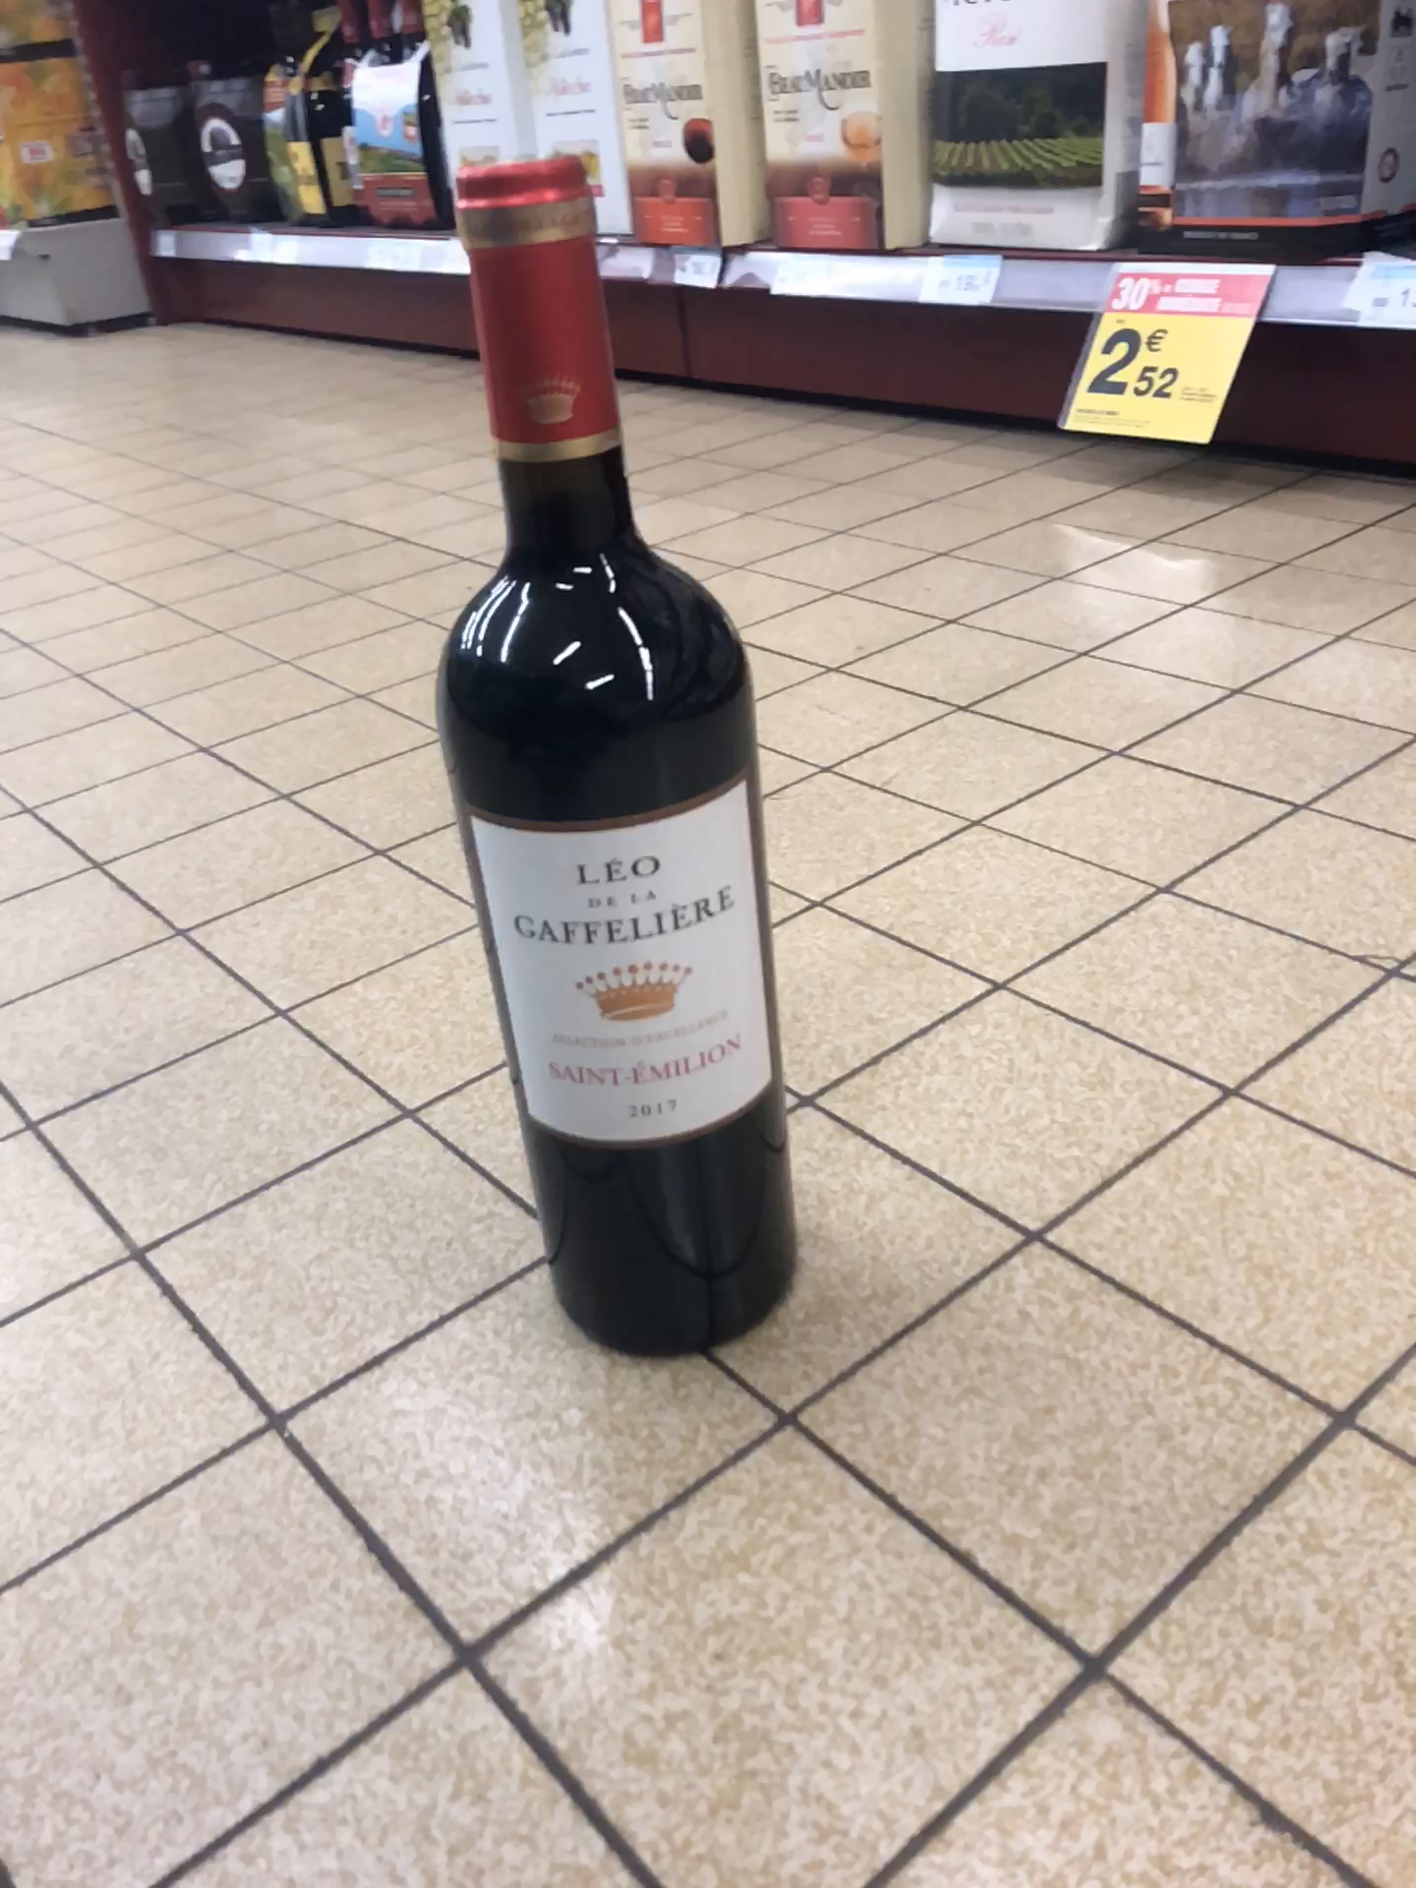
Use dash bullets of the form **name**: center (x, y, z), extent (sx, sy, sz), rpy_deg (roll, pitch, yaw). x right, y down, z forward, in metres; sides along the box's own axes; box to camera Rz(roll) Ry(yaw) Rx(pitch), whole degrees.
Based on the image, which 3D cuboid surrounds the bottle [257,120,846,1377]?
- **bottle**: center (-0.019, -0.034, 0.379), extent (0.090, 0.287, 0.091), rpy_deg (-5, 29, 3)
